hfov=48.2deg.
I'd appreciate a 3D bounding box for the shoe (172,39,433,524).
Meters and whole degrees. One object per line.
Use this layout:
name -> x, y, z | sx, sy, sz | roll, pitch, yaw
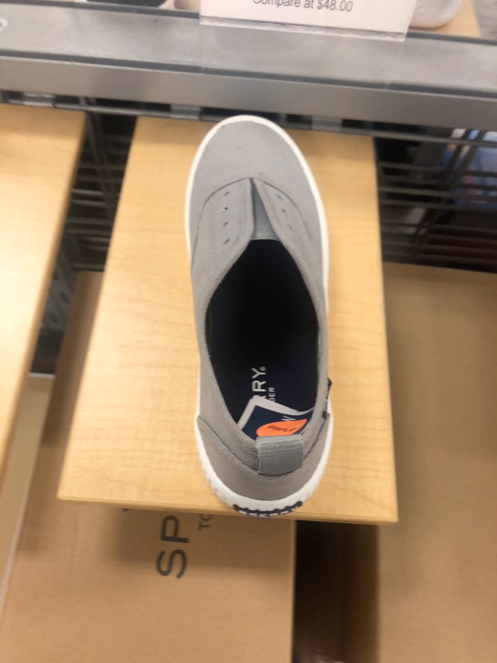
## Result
shoe -> 0.010, -0.037, 0.298 | 0.097, 0.081, 0.252 | -1, 62, -6
